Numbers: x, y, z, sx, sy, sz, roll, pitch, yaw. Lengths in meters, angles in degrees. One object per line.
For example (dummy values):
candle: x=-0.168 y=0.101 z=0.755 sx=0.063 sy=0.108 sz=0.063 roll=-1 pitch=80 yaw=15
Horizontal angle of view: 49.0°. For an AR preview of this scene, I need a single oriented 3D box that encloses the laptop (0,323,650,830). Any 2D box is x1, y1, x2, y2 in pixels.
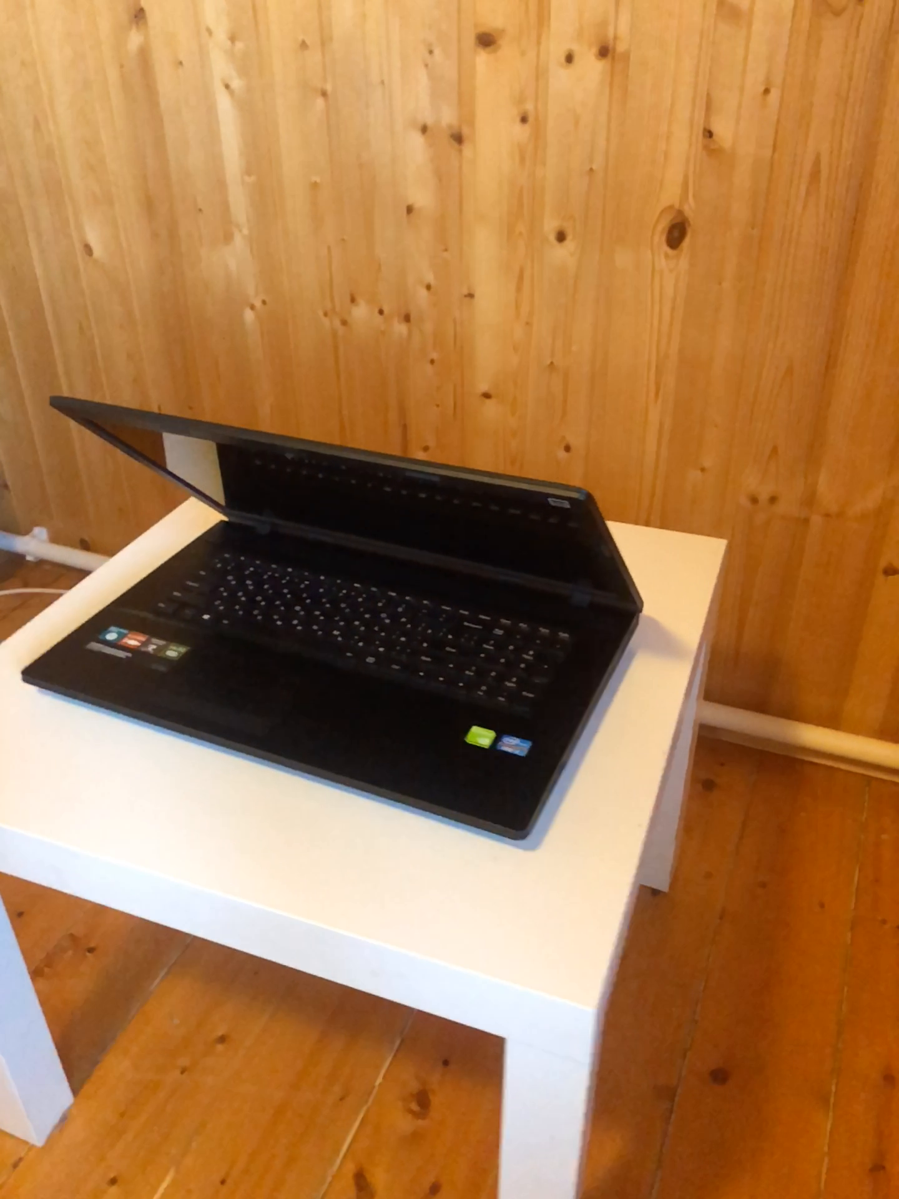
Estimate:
laptop: x=-0.093 y=-0.045 z=0.716 sx=0.401 sy=0.183 sz=0.252 roll=13 pitch=36 yaw=19
